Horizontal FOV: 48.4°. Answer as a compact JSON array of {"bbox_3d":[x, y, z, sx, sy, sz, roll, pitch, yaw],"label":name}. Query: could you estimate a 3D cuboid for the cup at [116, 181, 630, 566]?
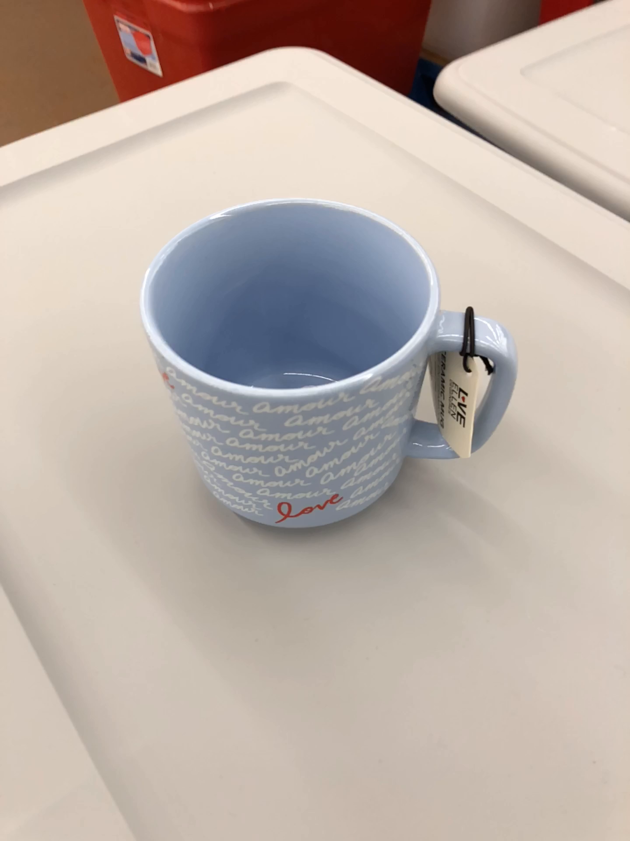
[{"bbox_3d":[0.021,-0.019,0.253,0.140,0.080,0.100,5,51,6],"label":"cup"}]
